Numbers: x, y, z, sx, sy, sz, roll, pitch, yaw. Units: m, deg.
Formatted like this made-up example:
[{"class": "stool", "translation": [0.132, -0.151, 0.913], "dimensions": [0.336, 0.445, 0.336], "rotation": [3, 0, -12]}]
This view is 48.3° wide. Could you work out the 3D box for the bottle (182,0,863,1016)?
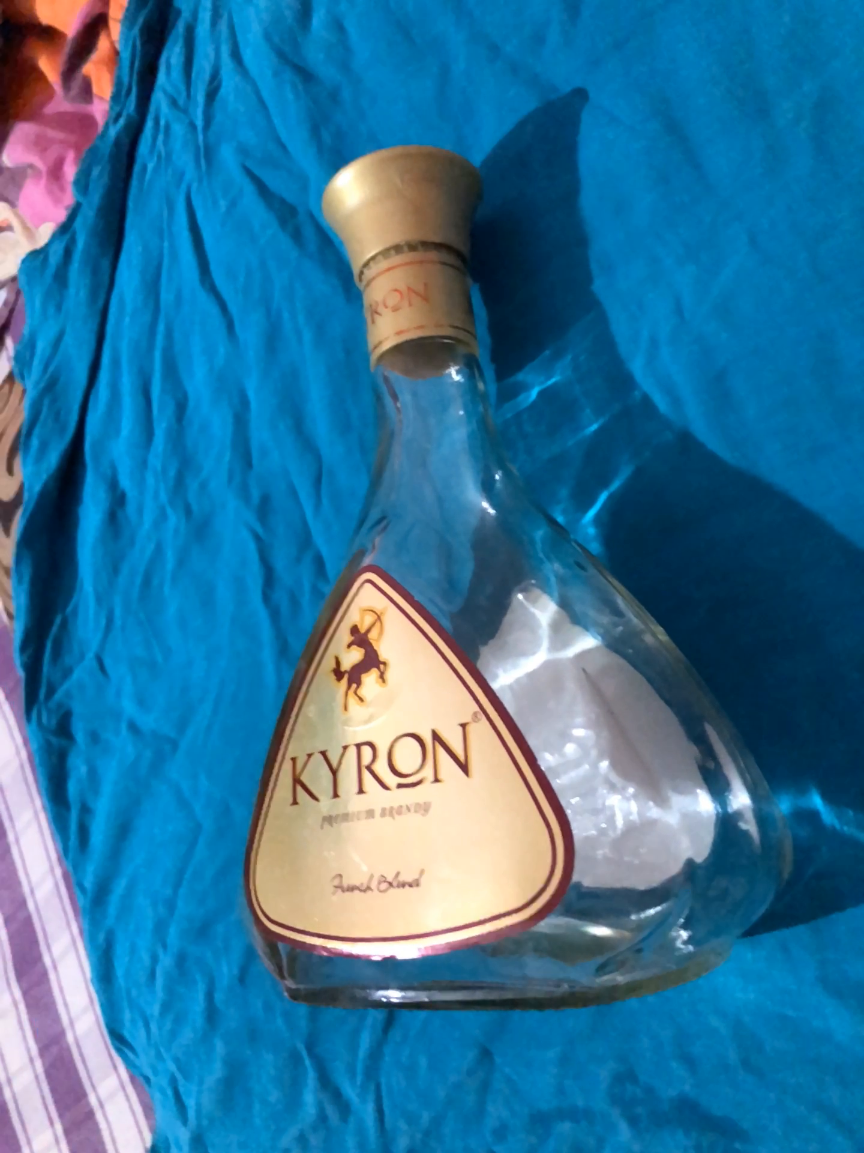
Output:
[{"class": "bottle", "translation": [0.021, -0.023, 0.262], "dimensions": [0.150, 0.080, 0.240], "rotation": [-20, 74, 41]}]
